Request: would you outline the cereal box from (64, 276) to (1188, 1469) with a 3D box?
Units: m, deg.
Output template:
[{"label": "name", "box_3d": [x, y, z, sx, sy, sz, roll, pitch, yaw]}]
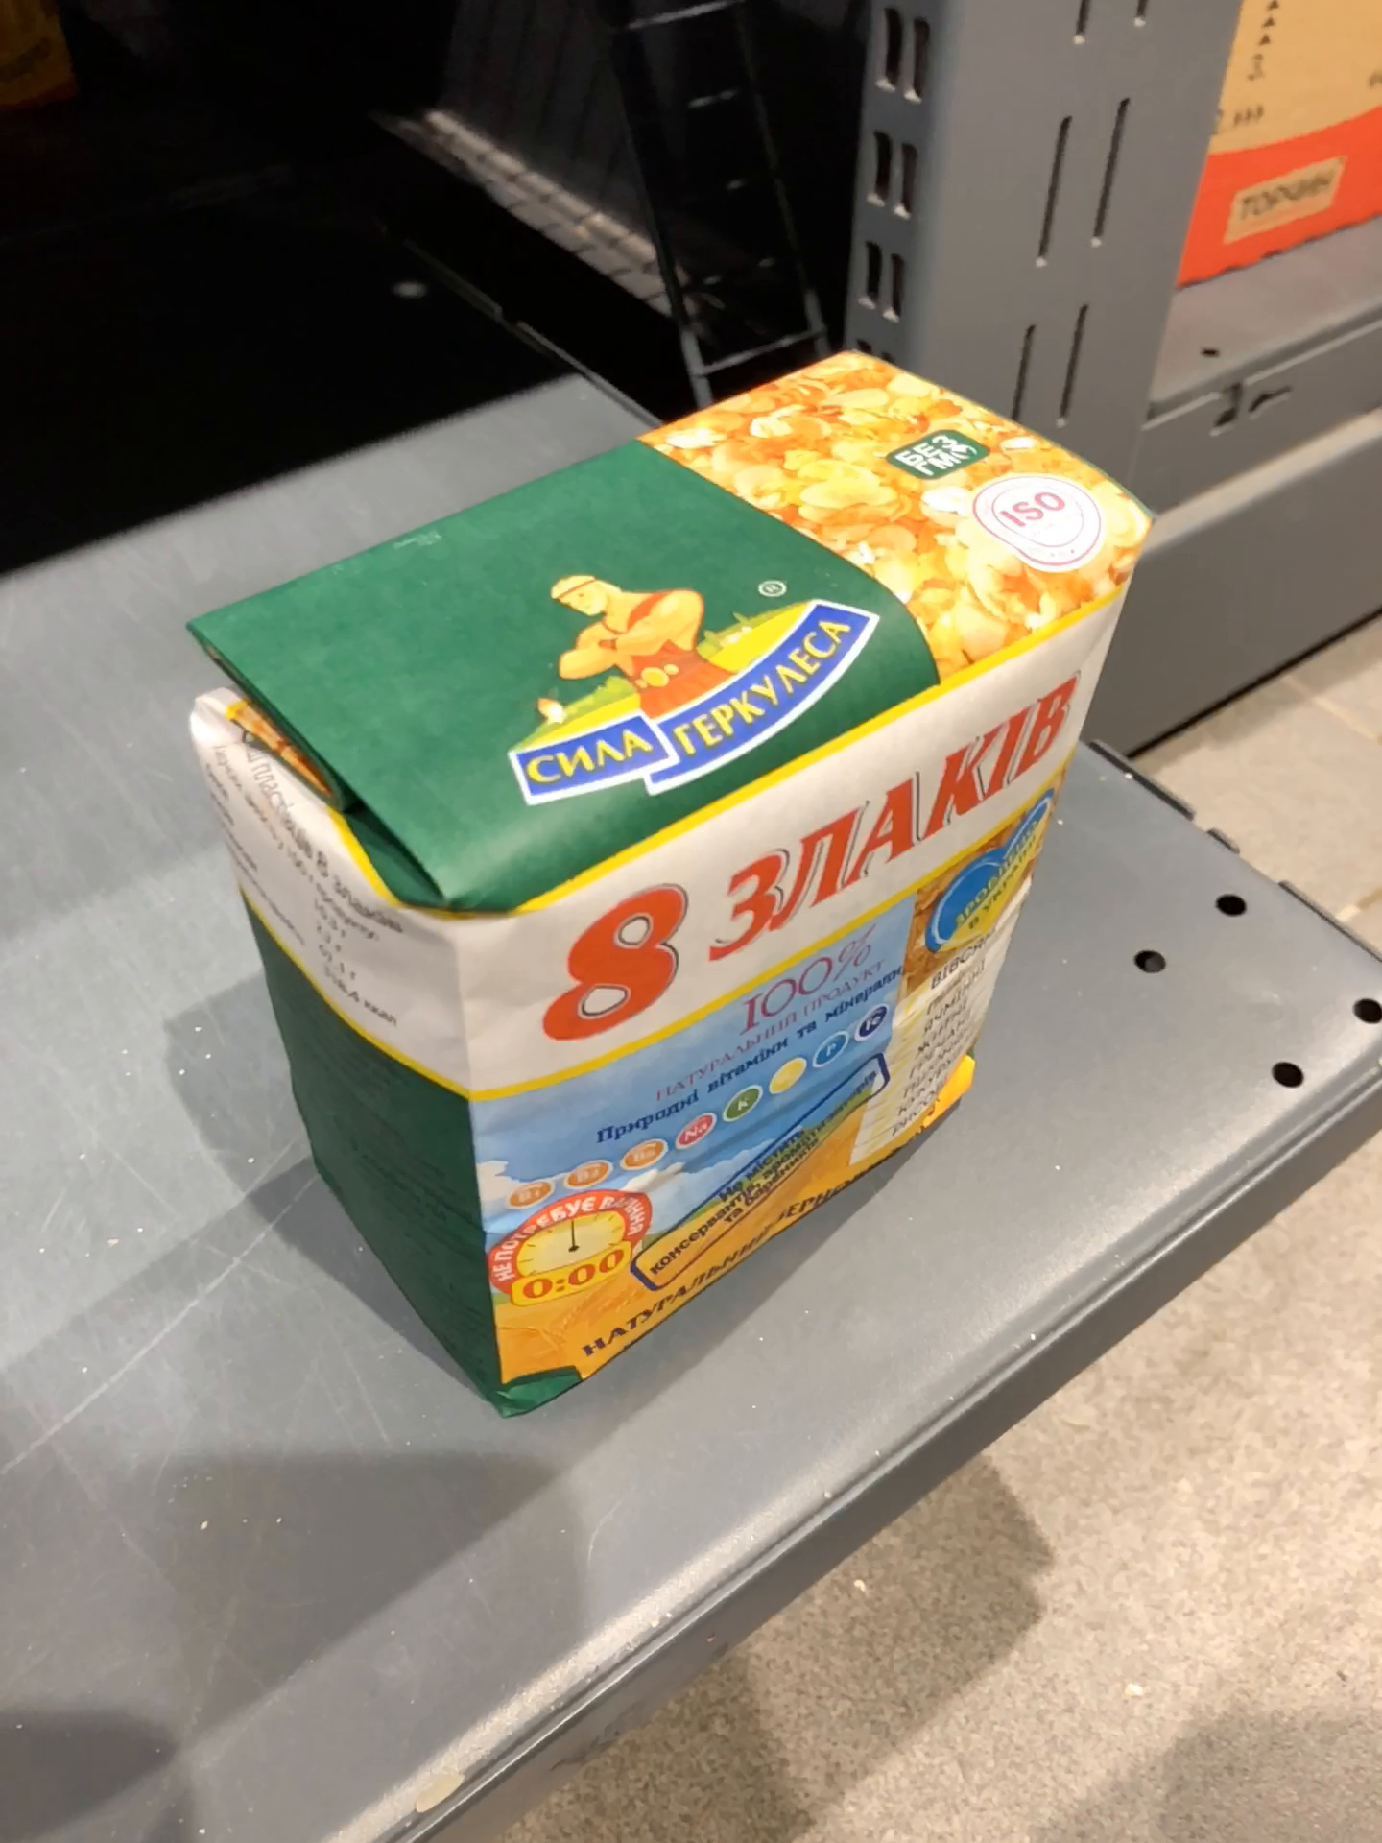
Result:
[{"label": "cereal box", "box_3d": [-0.006, -0.006, 0.237, 0.120, 0.129, 0.070, -30, 54, -25]}]
